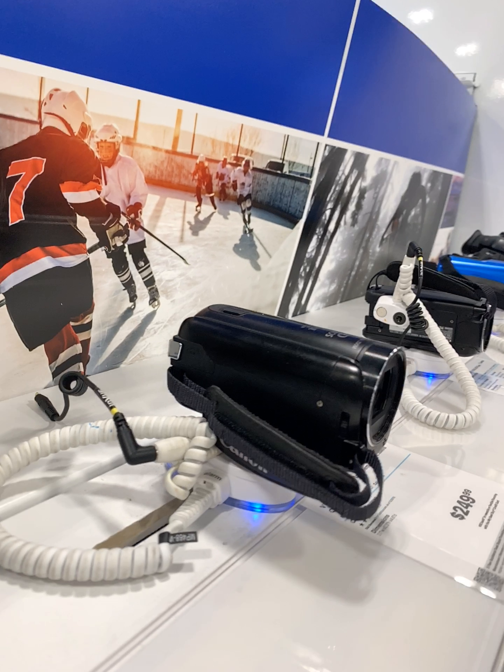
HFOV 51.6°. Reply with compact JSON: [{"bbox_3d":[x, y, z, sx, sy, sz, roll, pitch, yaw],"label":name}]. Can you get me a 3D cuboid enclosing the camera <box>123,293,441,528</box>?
[{"bbox_3d":[0.010,0.025,0.266,0.139,0.062,0.072,16,18,32],"label":"camera"}]
